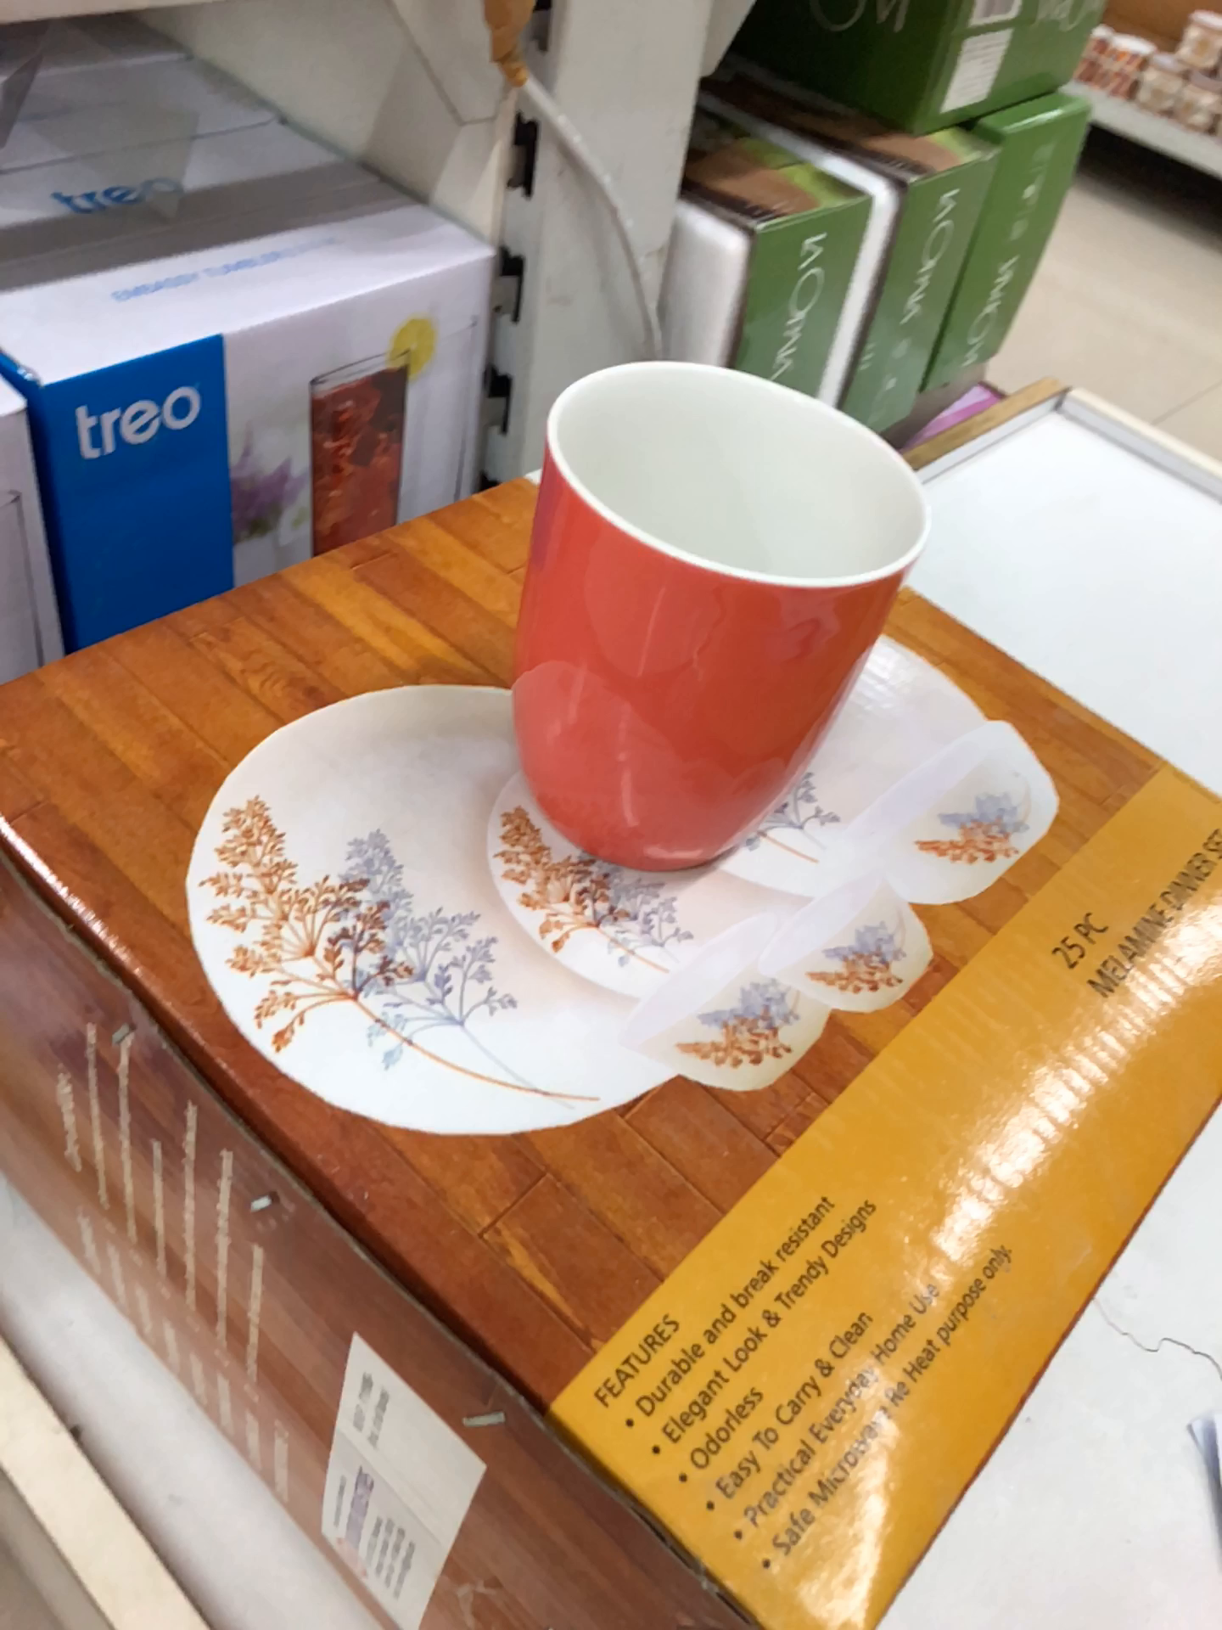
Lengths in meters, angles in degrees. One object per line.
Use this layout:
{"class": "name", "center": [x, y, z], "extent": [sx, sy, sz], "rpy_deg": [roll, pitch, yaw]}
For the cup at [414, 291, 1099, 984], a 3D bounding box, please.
{"class": "cup", "center": [0.031, -0.048, 0.328], "extent": [0.090, 0.099, 0.121], "rpy_deg": [40, 51, 25]}
